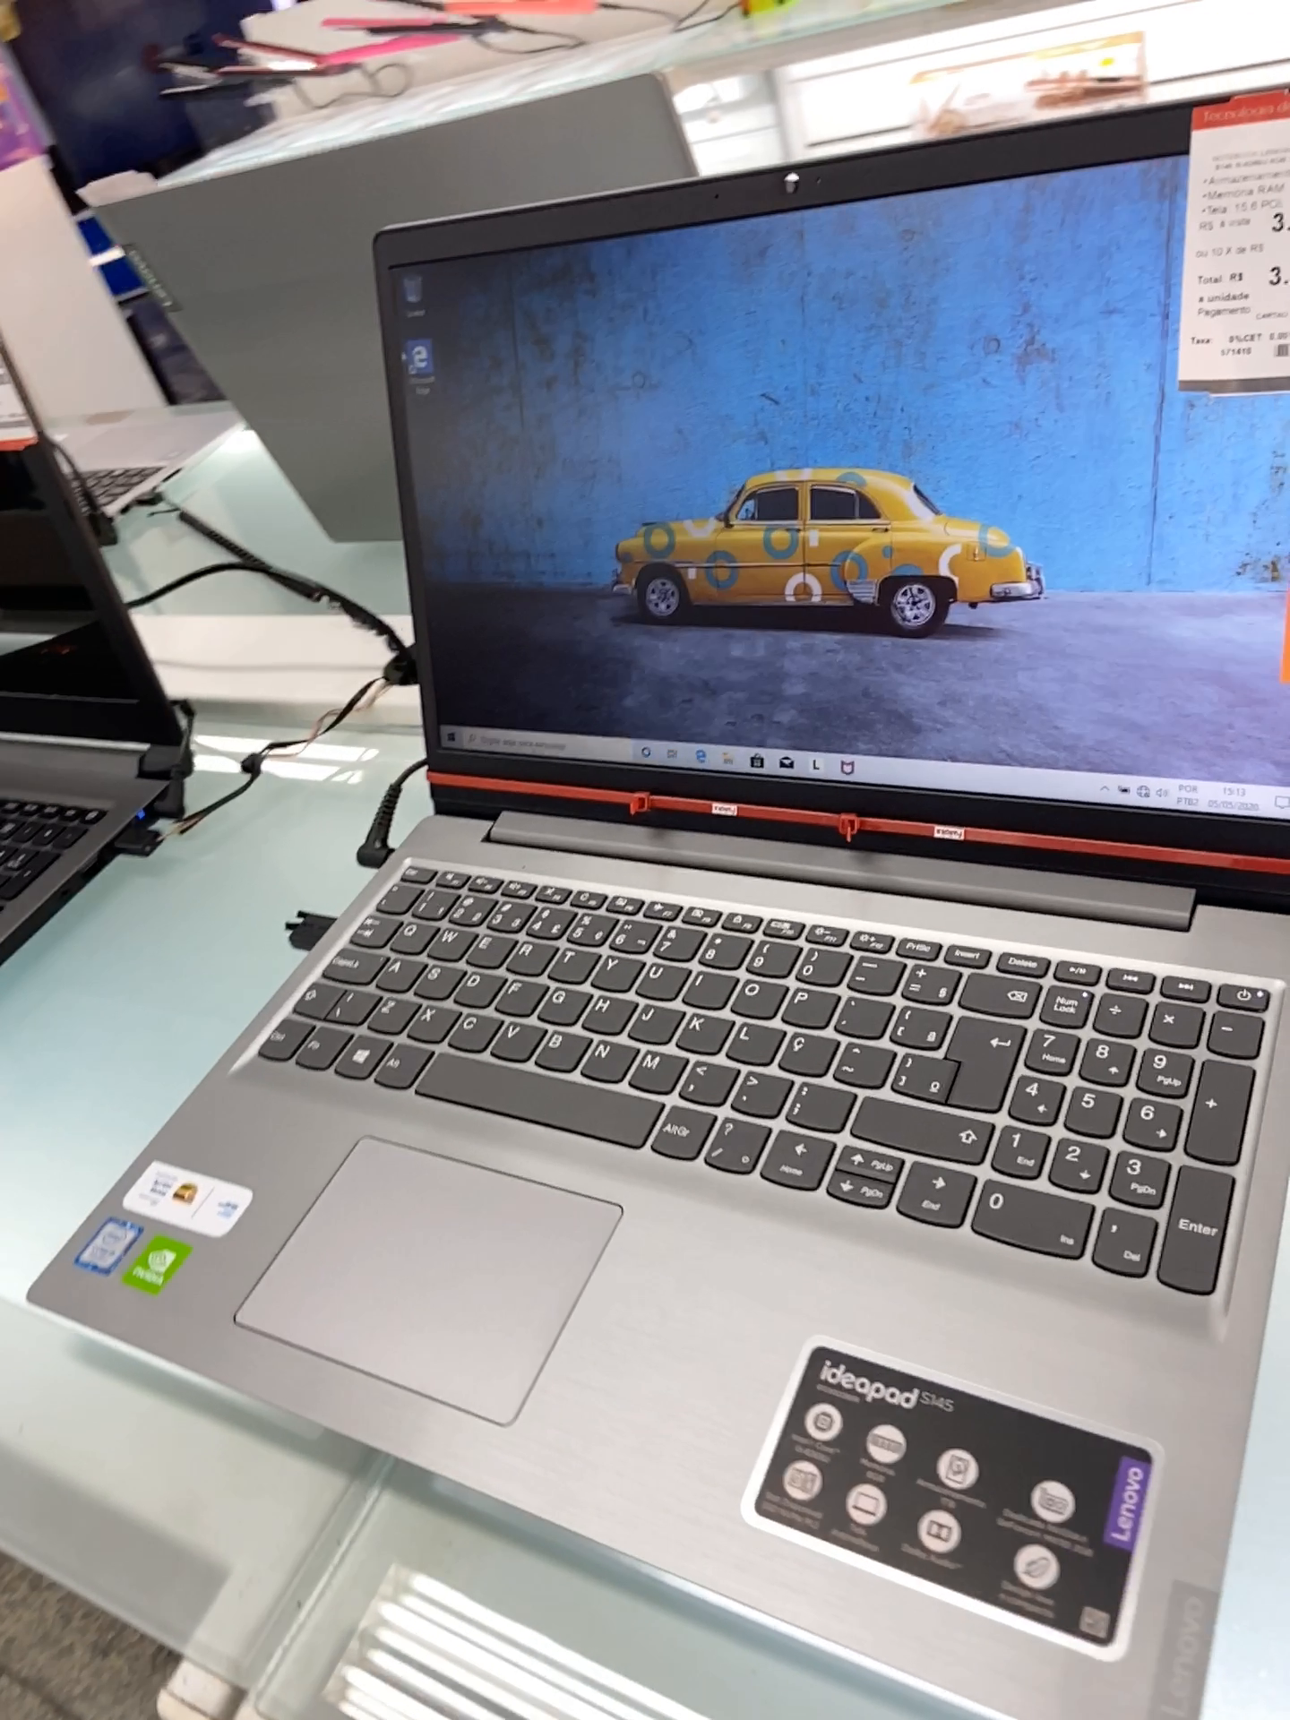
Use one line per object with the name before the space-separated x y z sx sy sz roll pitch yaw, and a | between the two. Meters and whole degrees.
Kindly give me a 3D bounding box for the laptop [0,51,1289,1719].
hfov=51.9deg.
laptop | -0.002 -0.035 0.396 0.365 0.214 0.353 6 44 30
